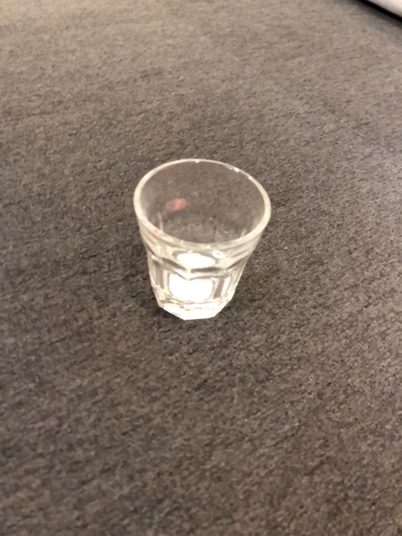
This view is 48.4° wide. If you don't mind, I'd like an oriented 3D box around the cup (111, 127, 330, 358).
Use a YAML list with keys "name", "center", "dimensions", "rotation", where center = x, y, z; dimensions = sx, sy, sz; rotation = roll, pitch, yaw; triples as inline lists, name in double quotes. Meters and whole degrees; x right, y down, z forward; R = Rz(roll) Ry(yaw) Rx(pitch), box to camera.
- name: "cup"
  center: [0.007, -0.013, 0.183]
  dimensions: [0.060, 0.050, 0.060]
  rotation: [5, 47, -5]
